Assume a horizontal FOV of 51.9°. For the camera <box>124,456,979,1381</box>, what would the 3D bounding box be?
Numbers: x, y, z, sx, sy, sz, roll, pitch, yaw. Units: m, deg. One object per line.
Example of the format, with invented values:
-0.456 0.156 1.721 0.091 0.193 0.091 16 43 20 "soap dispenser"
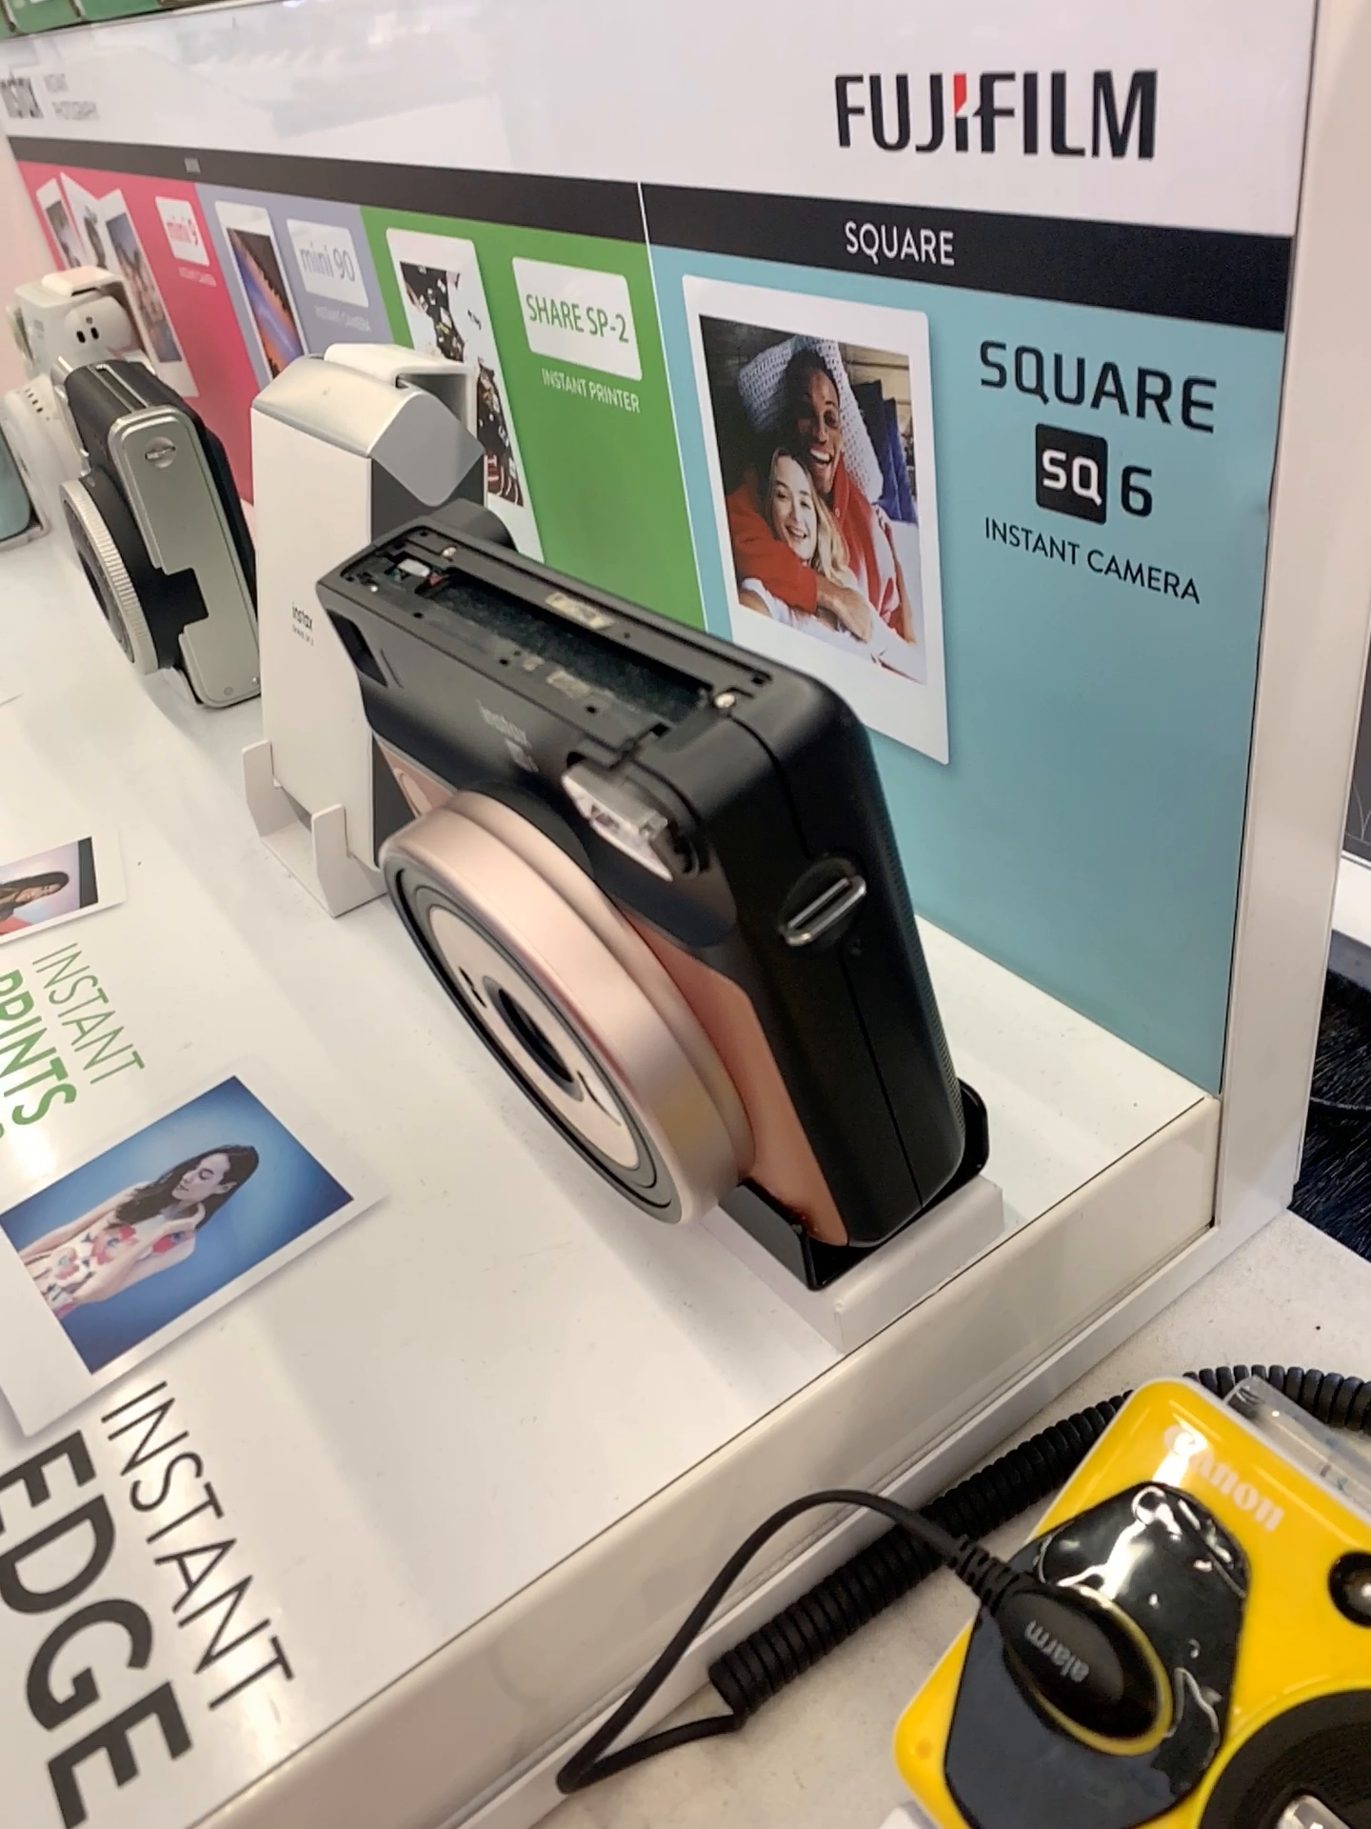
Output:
-0.024 -0.005 0.261 0.060 0.119 0.131 -38 43 -19 "camera"
